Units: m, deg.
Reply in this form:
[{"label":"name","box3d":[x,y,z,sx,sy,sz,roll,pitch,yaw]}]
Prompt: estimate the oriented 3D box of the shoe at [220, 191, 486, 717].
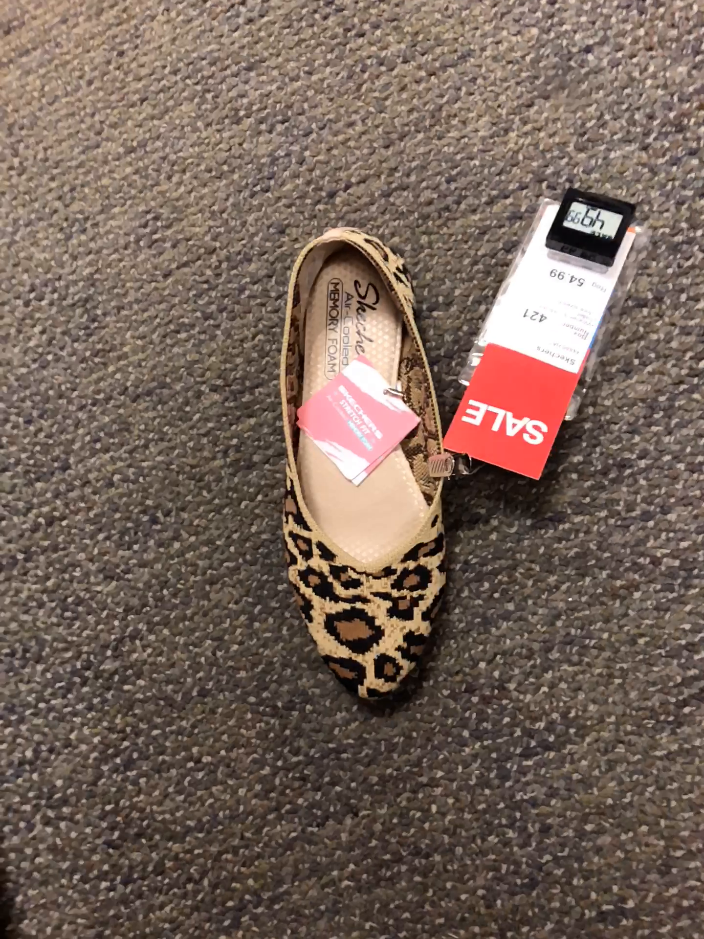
[{"label":"shoe","box3d":[0.000,-0.005,0.382,0.104,0.056,0.232,-6,81,13]}]
